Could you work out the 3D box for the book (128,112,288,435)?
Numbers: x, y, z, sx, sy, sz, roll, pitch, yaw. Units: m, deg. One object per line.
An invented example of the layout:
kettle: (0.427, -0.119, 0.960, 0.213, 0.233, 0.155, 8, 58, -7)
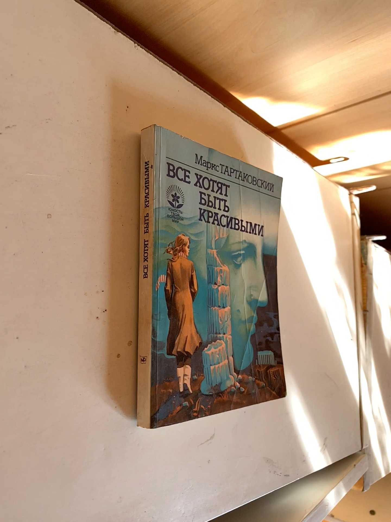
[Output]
book: (0.015, 0.008, 0.247, 0.121, 0.013, 0.160, 6, 82, -44)
